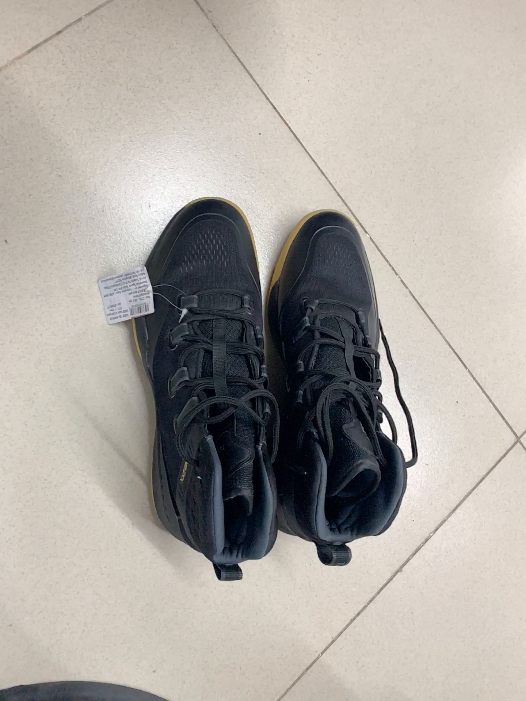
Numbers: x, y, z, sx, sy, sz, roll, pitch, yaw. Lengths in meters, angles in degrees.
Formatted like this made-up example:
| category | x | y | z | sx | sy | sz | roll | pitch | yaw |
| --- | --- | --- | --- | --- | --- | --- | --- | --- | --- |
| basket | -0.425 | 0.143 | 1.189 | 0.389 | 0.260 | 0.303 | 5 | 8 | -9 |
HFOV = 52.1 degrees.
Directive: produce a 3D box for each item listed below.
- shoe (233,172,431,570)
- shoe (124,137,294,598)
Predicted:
| category | x | y | z | sx | sy | sz | roll | pitch | yaw |
| --- | --- | --- | --- | --- | --- | --- | --- | --- | --- |
| shoe | 0.053 | 0.019 | 0.449 | 0.110 | 0.090 | 0.290 | 7 | 88 | -15 |
| shoe | -0.050 | 0.011 | 0.420 | 0.110 | 0.140 | 0.290 | 0 | 89 | -15 |
